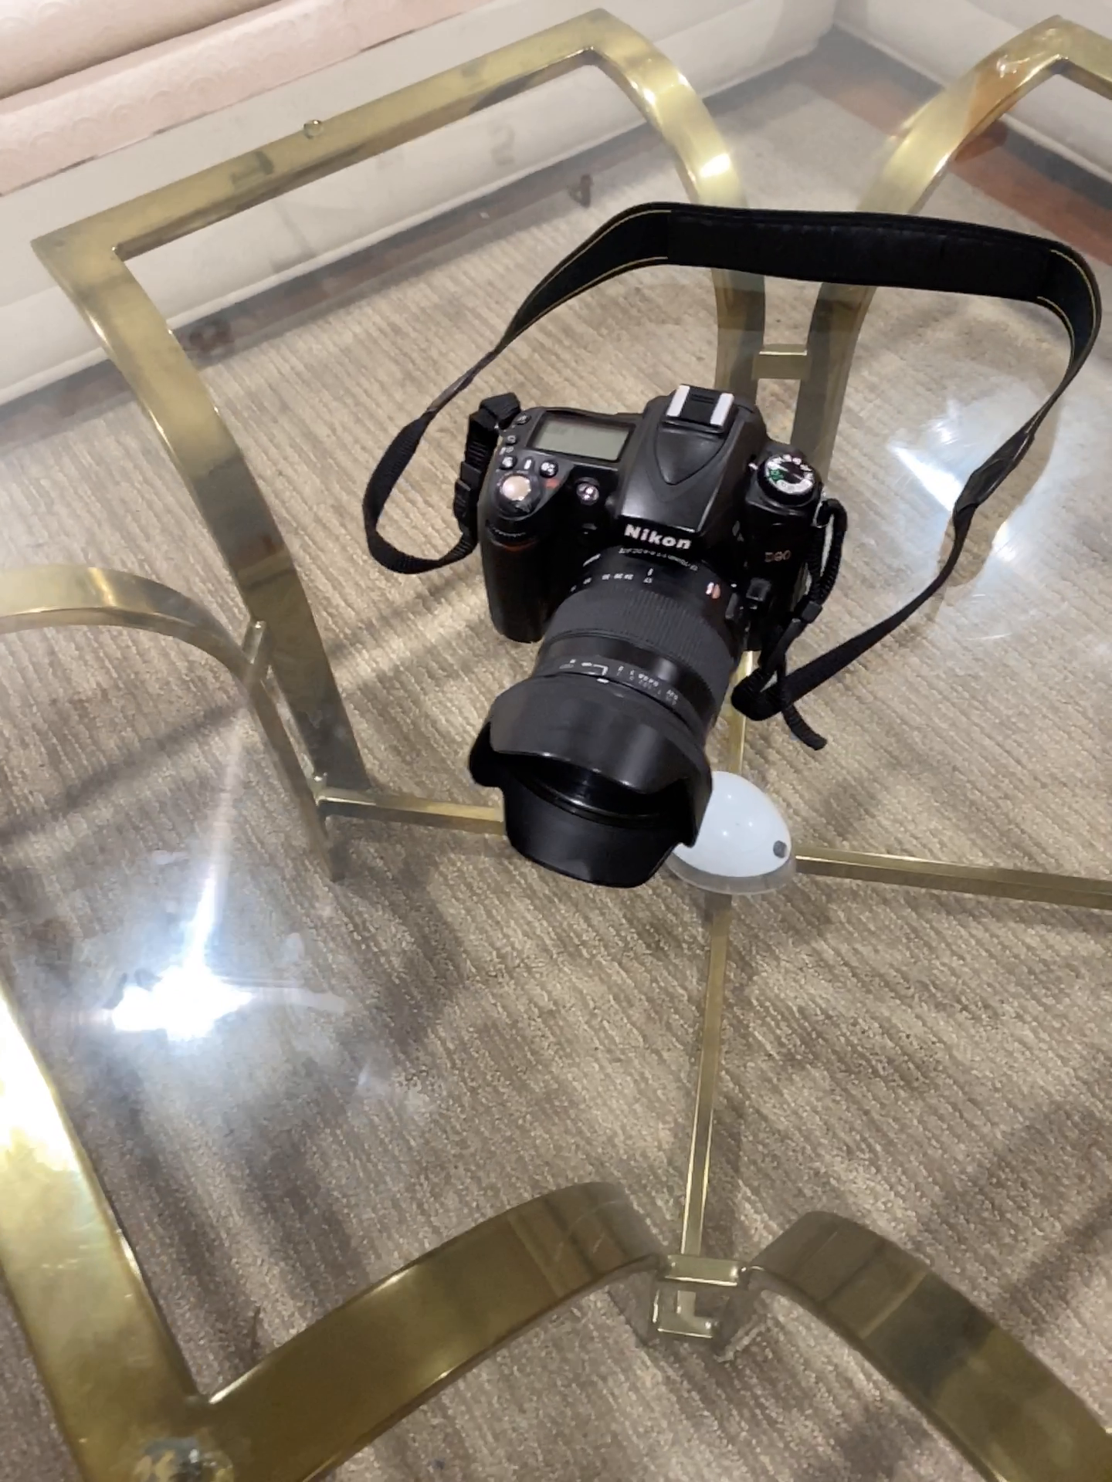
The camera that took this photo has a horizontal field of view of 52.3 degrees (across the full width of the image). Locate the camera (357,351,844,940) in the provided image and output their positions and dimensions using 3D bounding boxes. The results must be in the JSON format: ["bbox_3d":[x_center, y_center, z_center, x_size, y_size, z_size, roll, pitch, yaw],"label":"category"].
[{"bbox_3d":[0.026,-0.042,0.459,0.130,0.120,0.180,14,58,12],"label":"camera"}]
